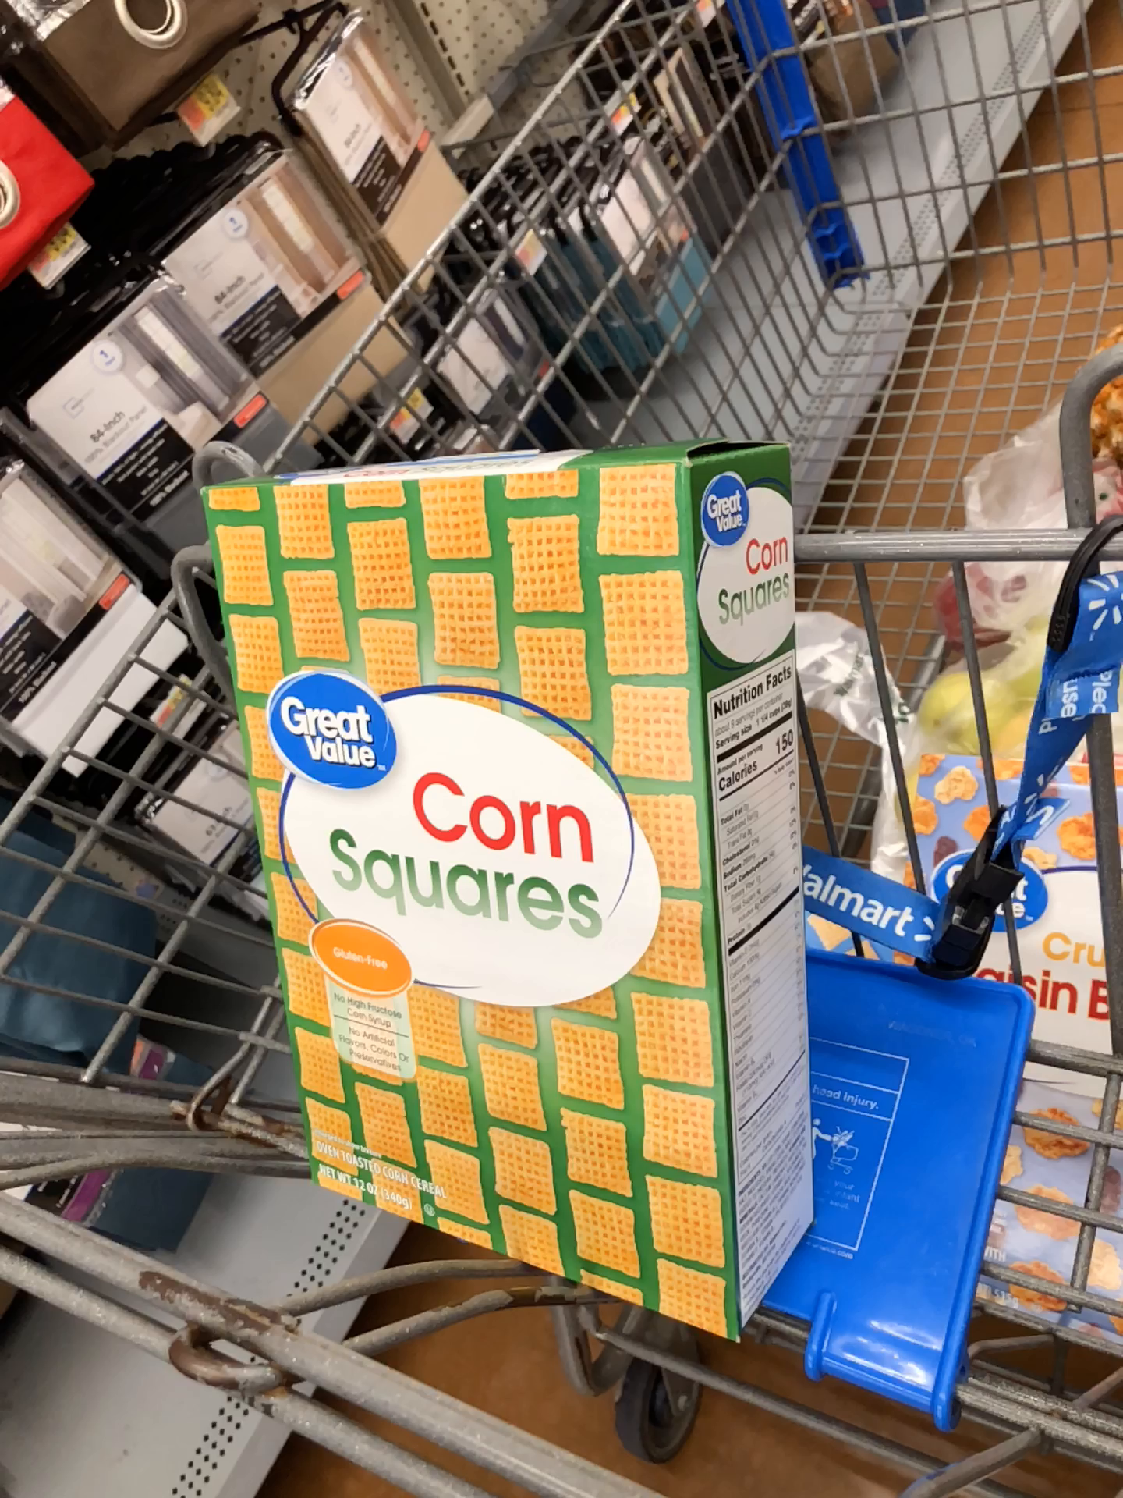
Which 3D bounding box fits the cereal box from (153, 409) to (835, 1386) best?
[{"bbox_3d":[-0.021,0.040,0.420,0.201,0.280,0.070,4,17,34],"label":"cereal box"}]
